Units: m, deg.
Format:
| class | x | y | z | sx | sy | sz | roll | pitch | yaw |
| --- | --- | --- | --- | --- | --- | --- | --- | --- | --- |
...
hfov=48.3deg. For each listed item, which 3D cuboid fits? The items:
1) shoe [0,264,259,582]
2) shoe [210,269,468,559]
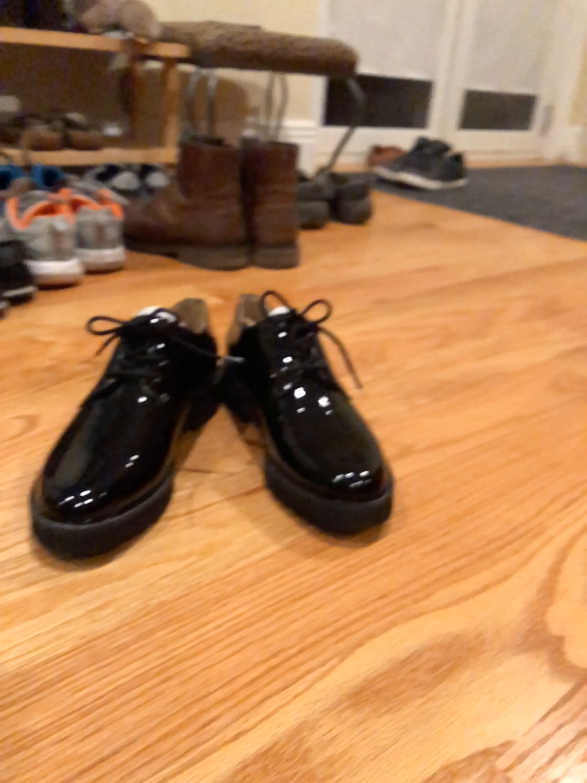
| class | x | y | z | sx | sy | sz | roll | pitch | yaw |
| --- | --- | --- | --- | --- | --- | --- | --- | --- | --- |
| shoe | -0.106 | -0.002 | 0.453 | 0.095 | 0.101 | 0.252 | 9 | 26 | 10 |
| shoe | 0.011 | -0.006 | 0.486 | 0.095 | 0.101 | 0.252 | -5 | 27 | -18 |
